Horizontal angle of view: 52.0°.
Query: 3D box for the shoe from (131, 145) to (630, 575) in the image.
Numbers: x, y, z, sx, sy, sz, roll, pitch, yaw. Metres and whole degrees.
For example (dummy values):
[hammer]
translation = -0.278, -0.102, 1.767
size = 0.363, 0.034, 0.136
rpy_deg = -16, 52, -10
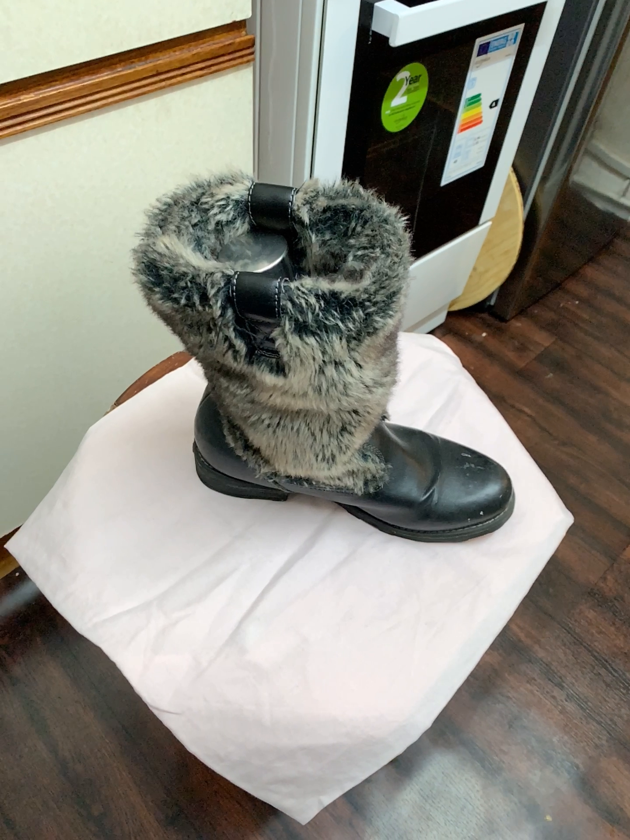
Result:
[shoe]
translation = 0.042, -0.027, 0.449
size = 0.270, 0.238, 0.121
rpy_deg = 10, 50, 4
